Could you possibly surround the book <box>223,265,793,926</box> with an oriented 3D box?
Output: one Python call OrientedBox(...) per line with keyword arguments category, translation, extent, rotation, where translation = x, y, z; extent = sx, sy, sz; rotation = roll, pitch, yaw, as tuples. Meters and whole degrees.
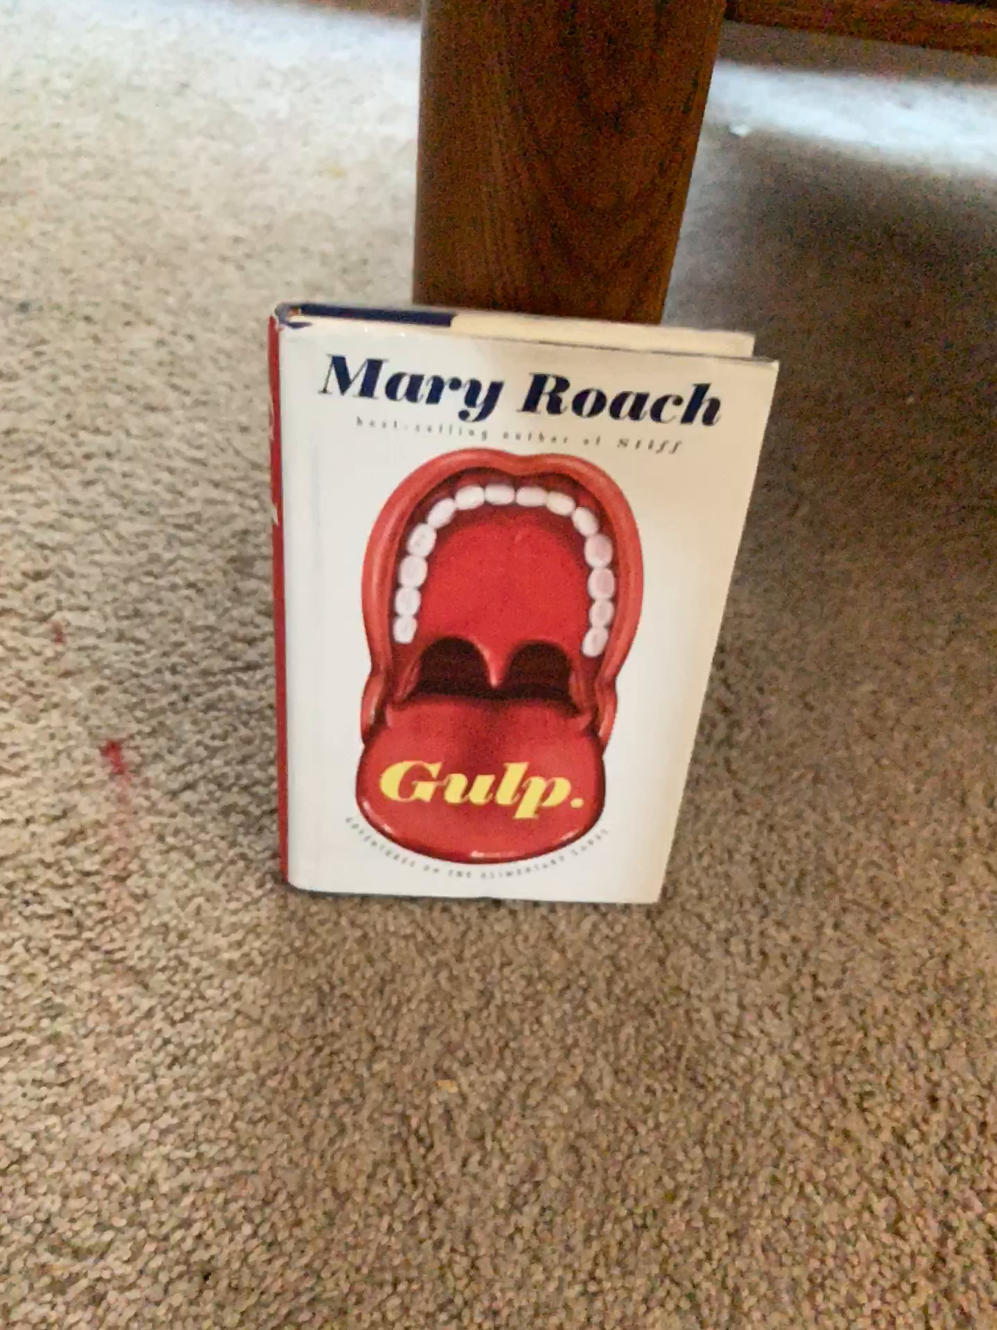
OrientedBox(category="book", translation=(-0.006, -0.010, 0.367), extent=(0.160, 0.229, 0.040), rotation=(4, 31, -3))
